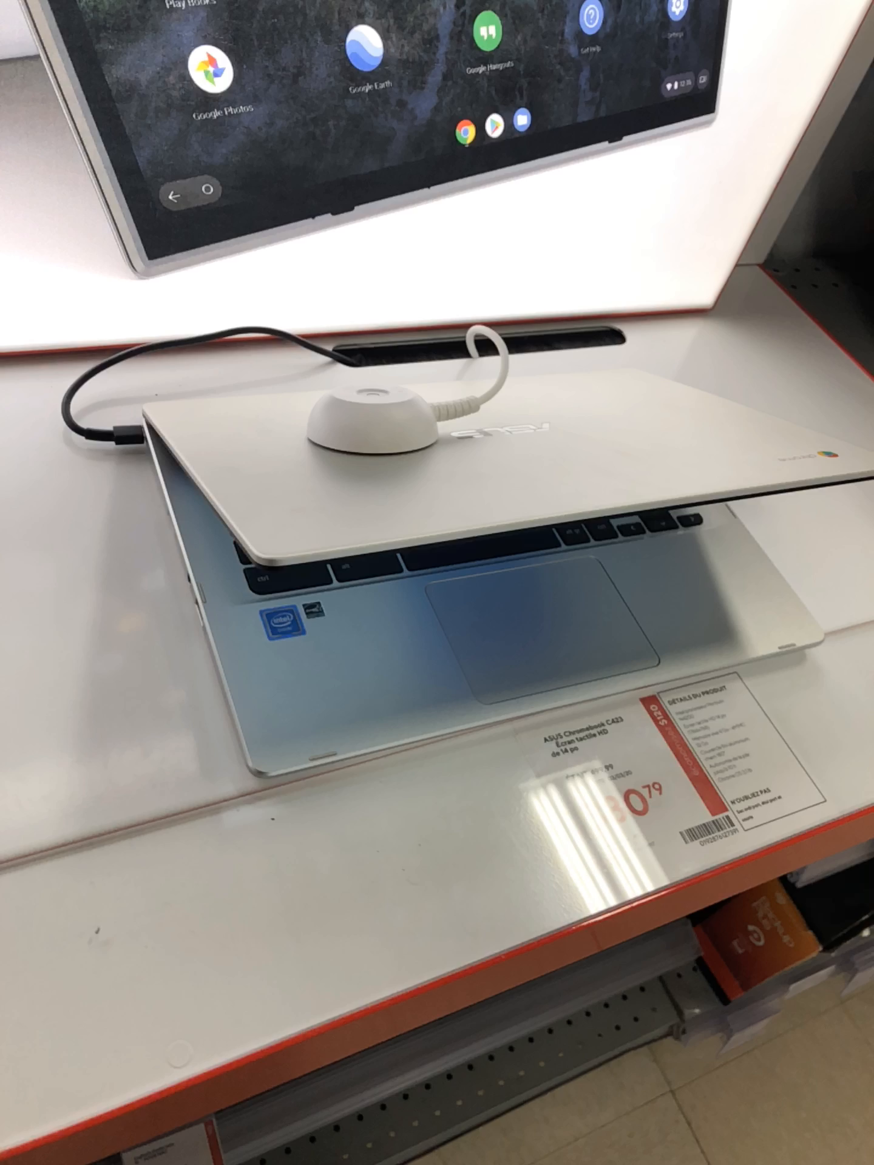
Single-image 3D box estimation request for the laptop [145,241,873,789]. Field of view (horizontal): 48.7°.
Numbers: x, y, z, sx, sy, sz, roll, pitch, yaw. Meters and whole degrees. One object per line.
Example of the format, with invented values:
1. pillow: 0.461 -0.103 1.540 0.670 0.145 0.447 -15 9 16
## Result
1. laptop: 0.043 -0.059 0.471 0.318 0.100 0.225 -9 53 -25
